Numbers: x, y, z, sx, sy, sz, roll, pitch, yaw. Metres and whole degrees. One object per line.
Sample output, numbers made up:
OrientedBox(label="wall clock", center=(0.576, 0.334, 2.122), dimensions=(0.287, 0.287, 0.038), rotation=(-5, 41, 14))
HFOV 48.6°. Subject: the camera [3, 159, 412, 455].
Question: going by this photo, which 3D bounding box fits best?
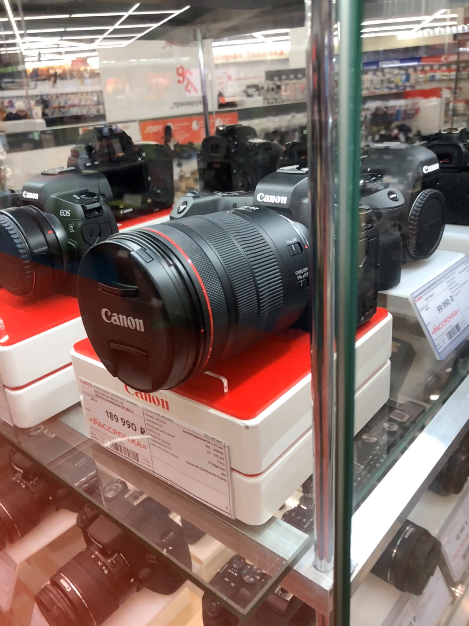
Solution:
OrientedBox(label="camera", center=(-0.005, -0.029, 0.307), dimensions=(0.145, 0.093, 0.181), rotation=(15, 29, 38))
